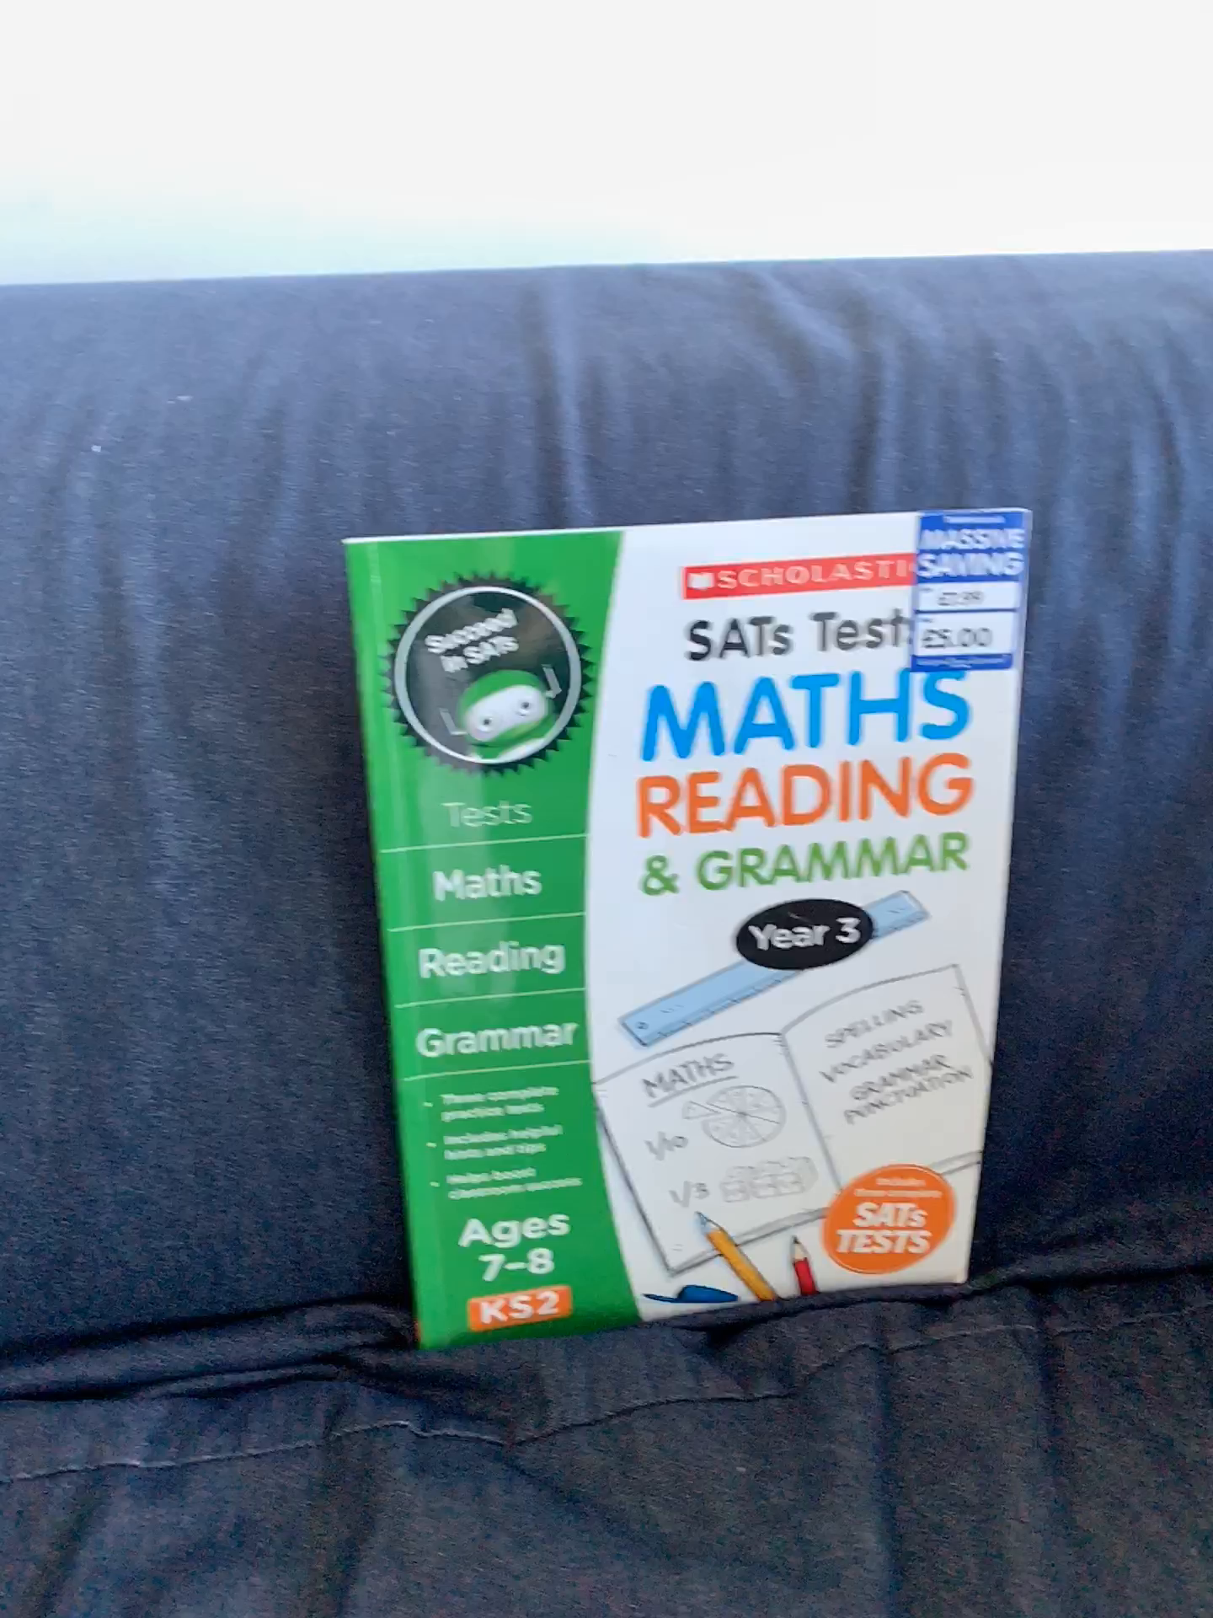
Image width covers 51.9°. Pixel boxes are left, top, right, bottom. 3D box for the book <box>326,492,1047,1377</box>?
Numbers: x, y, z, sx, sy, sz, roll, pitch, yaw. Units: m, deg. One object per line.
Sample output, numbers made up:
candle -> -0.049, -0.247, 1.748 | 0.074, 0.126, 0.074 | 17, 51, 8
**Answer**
book -> 0.029, 0.052, 0.414 | 0.209, 0.293, 0.022 | -5, 21, -8
